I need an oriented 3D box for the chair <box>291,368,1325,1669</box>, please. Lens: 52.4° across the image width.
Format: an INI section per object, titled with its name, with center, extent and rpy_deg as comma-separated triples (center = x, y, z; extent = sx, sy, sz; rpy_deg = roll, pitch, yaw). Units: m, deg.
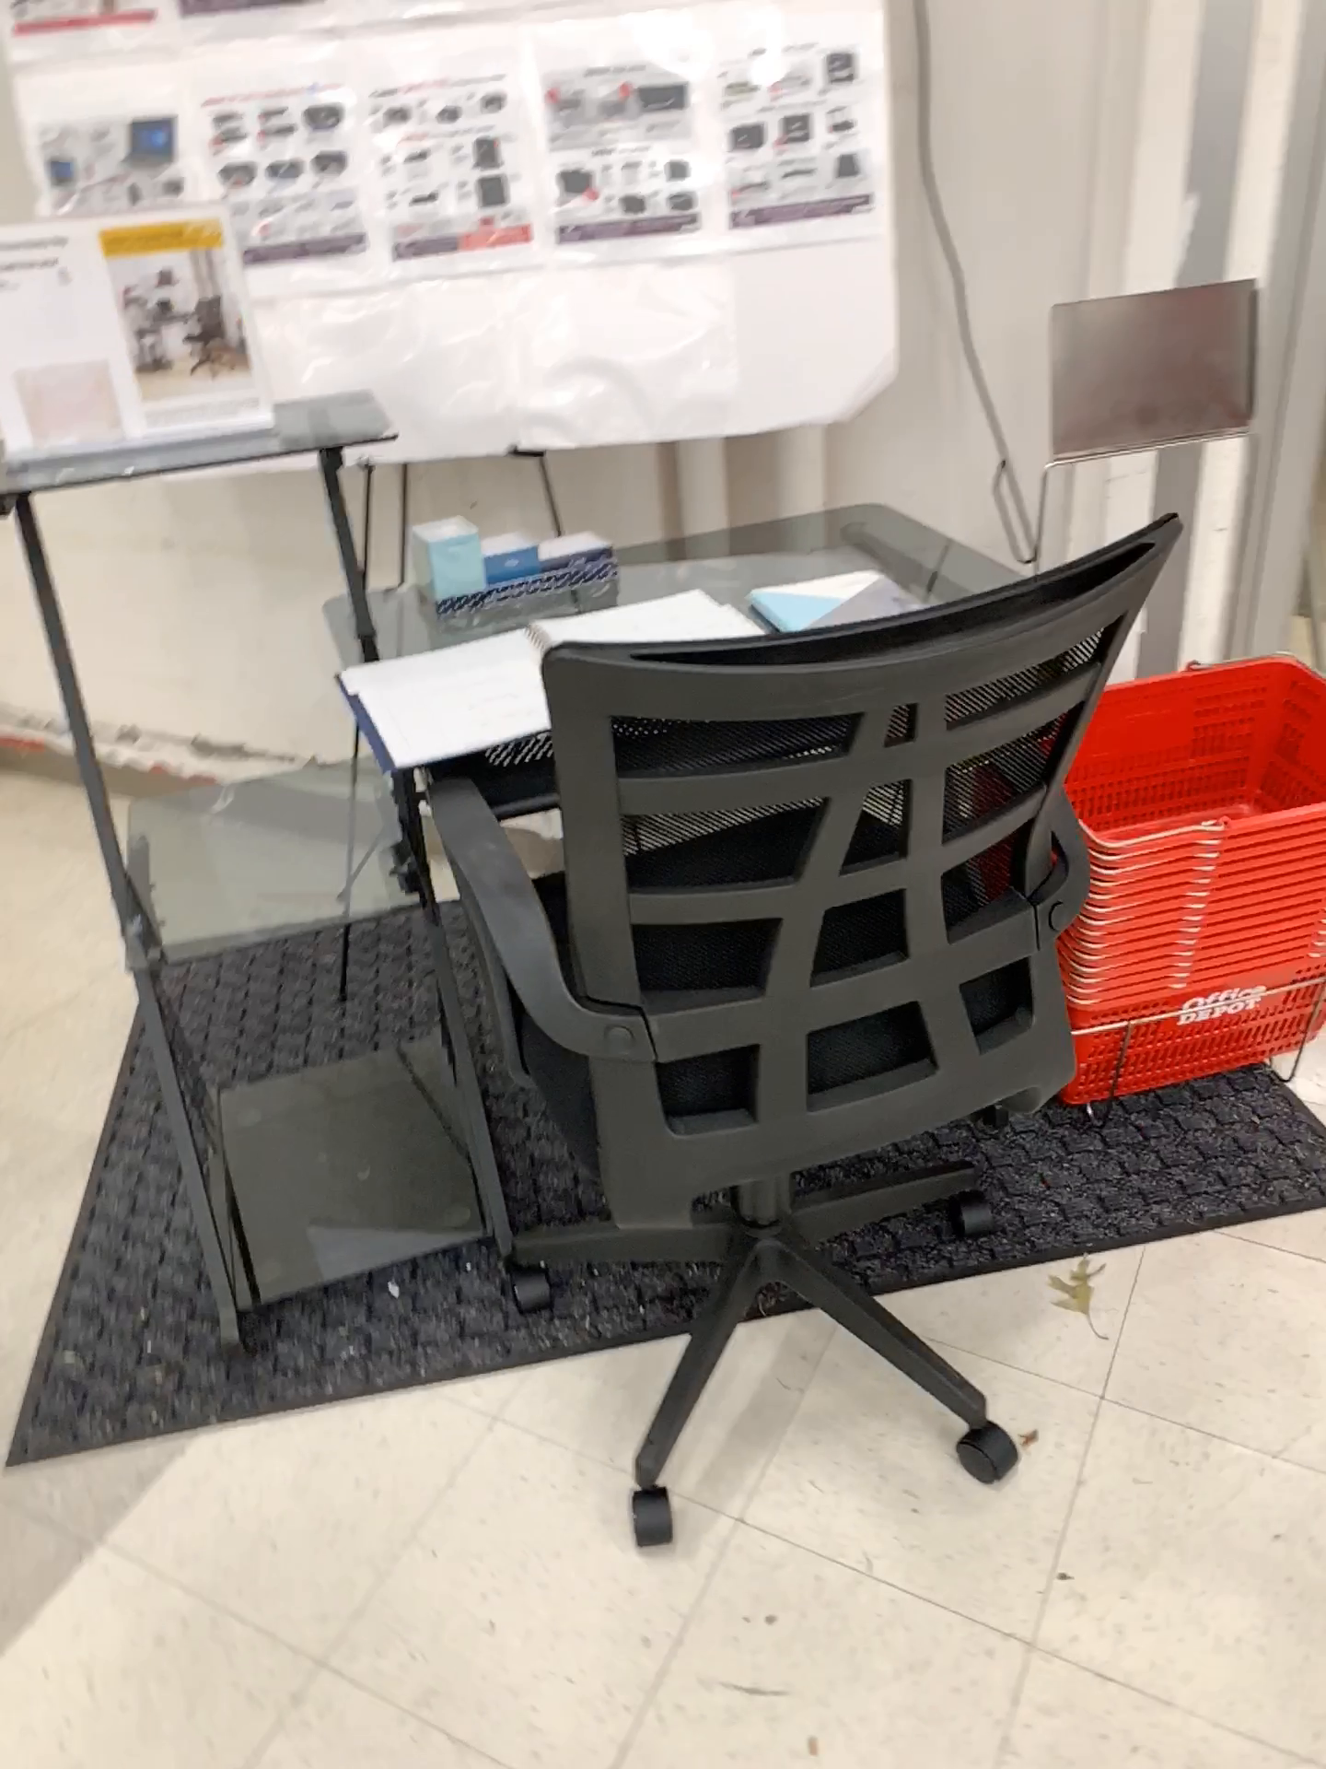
[chair]
center = 0.089, 0.064, 1.353
extent = 0.614, 0.942, 0.698
rpy_deg = -15, 31, -17
